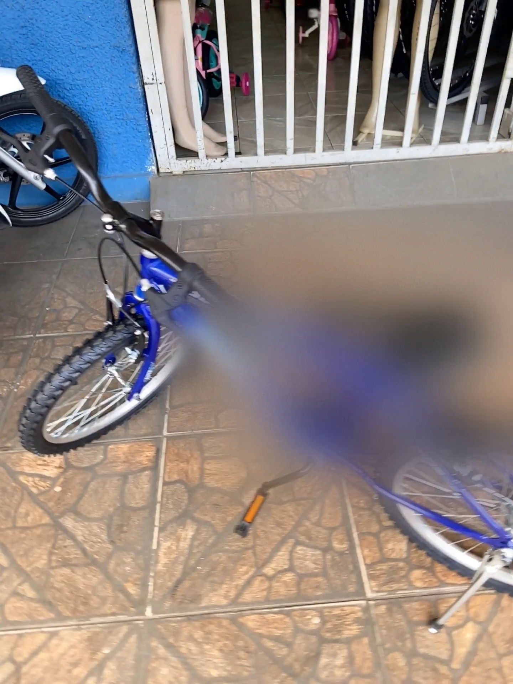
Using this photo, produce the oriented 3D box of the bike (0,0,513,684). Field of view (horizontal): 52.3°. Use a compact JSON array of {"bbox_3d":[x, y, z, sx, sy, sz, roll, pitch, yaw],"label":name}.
[{"bbox_3d":[0.098,0.099,0.819,1.182,0.949,0.546,12,42,15],"label":"bike"}]
